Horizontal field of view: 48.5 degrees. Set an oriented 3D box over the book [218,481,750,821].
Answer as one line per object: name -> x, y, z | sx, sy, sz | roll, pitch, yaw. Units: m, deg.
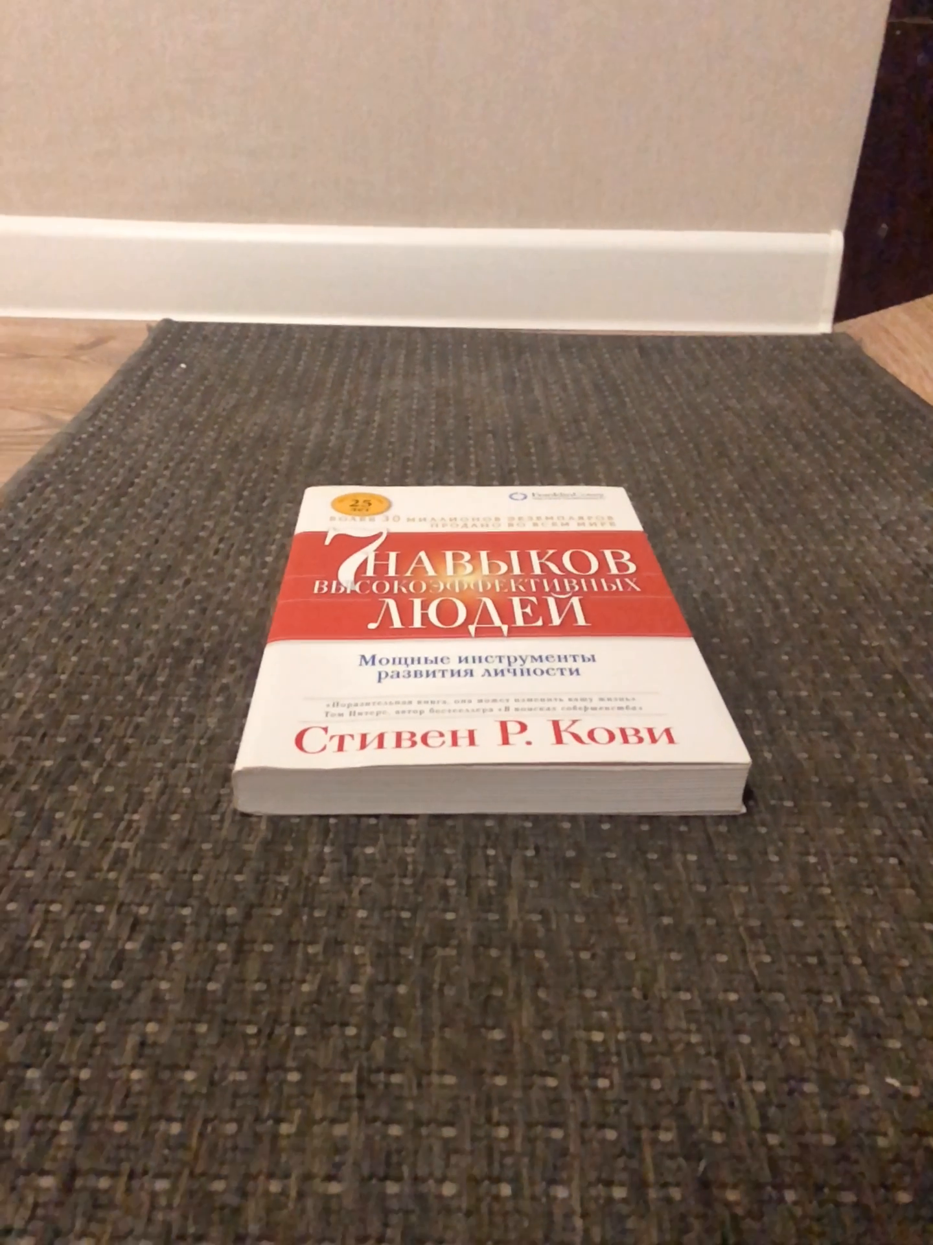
book -> 0.003, -0.004, 0.430 | 0.166, 0.020, 0.237 | -1, 29, -1
